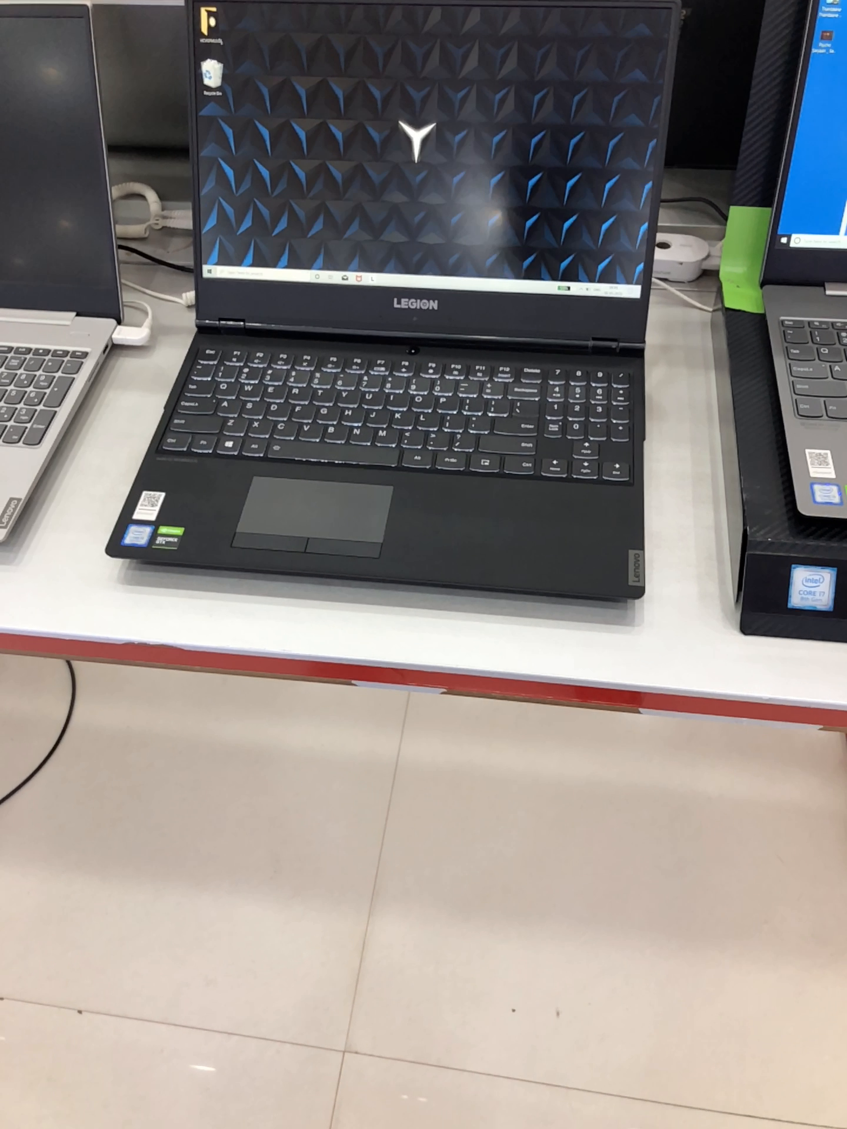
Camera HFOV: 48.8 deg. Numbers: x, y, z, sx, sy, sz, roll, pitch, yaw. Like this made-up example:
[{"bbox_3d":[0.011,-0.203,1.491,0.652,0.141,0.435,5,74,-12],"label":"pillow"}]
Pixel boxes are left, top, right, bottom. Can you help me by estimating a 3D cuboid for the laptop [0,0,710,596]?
[{"bbox_3d":[-0.014,-0.191,0.610,0.333,0.191,0.349,5,53,6],"label":"laptop"}]
